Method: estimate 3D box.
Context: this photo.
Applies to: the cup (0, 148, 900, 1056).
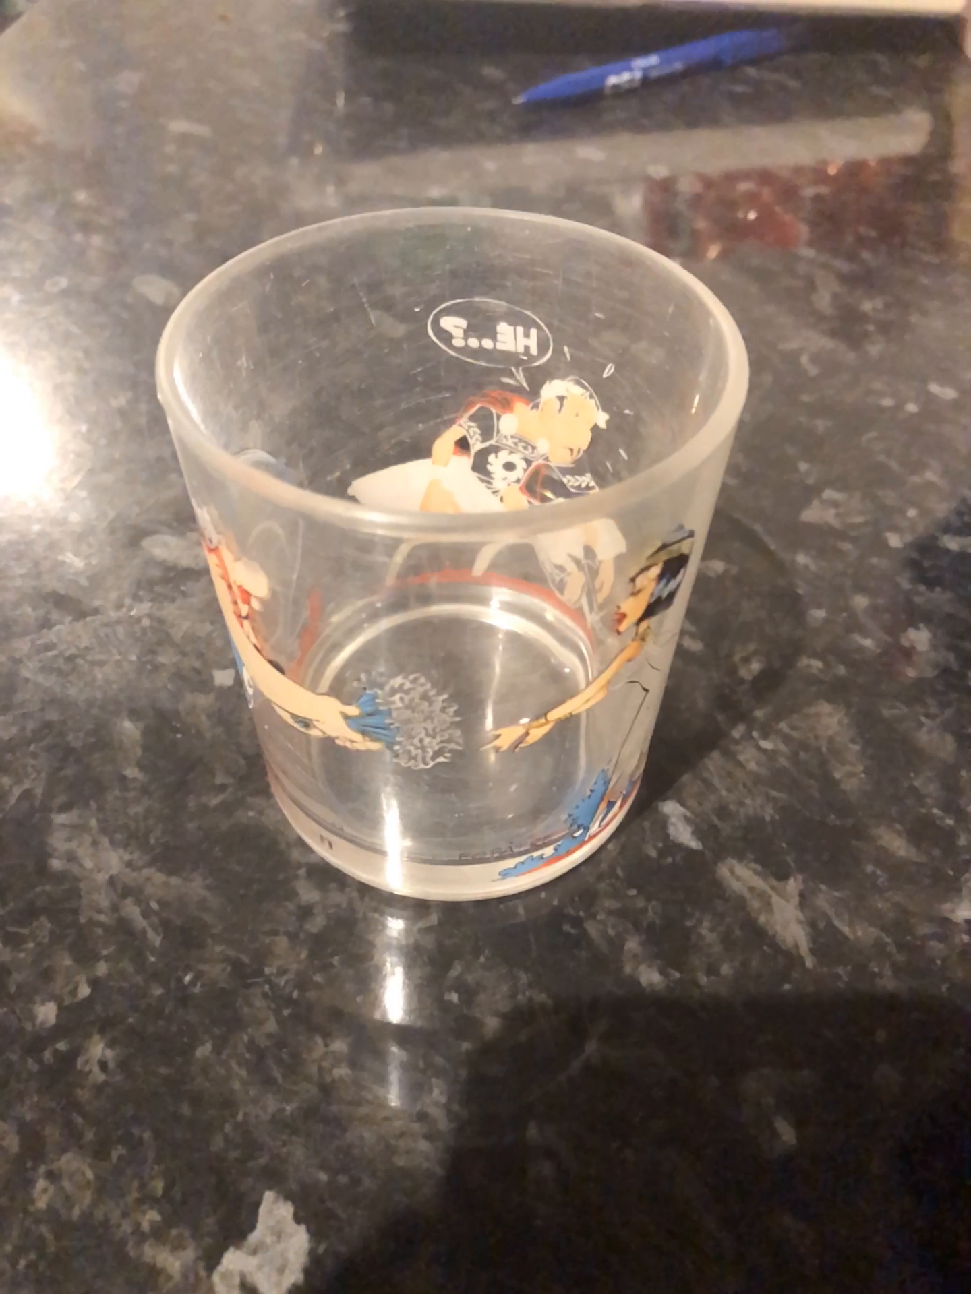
[{"bbox_3d":[-0.008,-0.011,0.161,0.080,0.080,0.080,1,47,-1],"label":"cup"}]
